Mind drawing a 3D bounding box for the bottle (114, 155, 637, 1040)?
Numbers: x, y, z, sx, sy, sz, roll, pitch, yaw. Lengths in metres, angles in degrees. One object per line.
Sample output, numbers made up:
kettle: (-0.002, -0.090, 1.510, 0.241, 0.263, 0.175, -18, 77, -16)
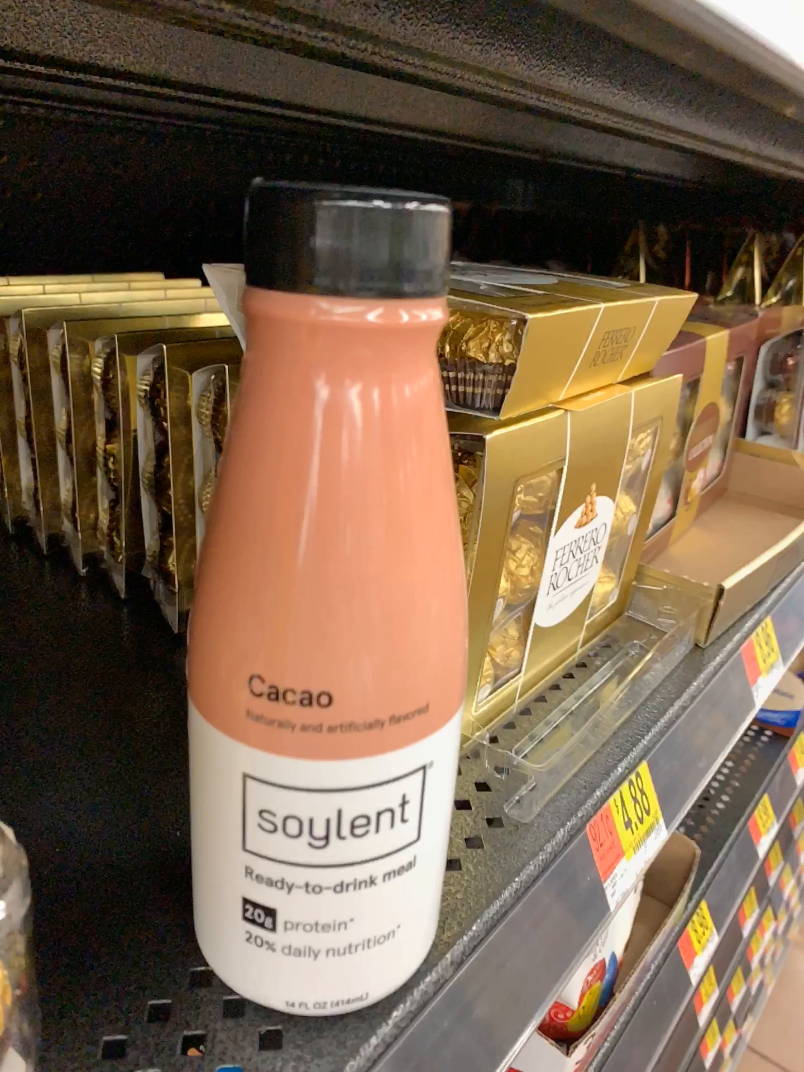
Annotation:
bottle: (-0.015, 0.019, 0.195, 0.080, 0.189, 0.070, 4, 23, -6)
